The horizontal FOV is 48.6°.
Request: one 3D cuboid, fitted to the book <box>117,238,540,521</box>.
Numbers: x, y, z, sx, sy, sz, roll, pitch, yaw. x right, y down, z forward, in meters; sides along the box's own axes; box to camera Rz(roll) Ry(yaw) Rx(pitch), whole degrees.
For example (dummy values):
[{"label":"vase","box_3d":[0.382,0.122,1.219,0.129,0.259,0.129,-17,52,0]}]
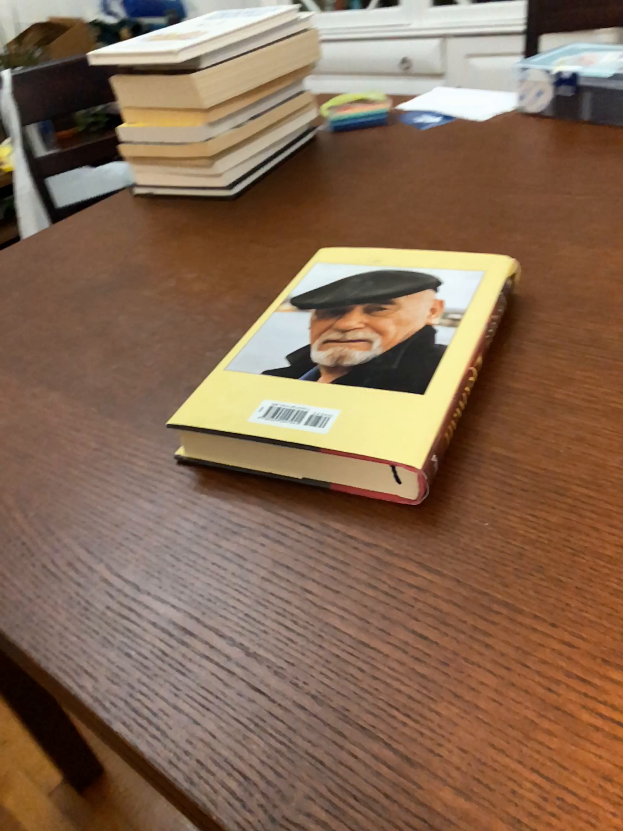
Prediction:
[{"label":"book","box_3d":[0.027,-0.048,0.452,0.190,0.030,0.251,8,40,25]}]
